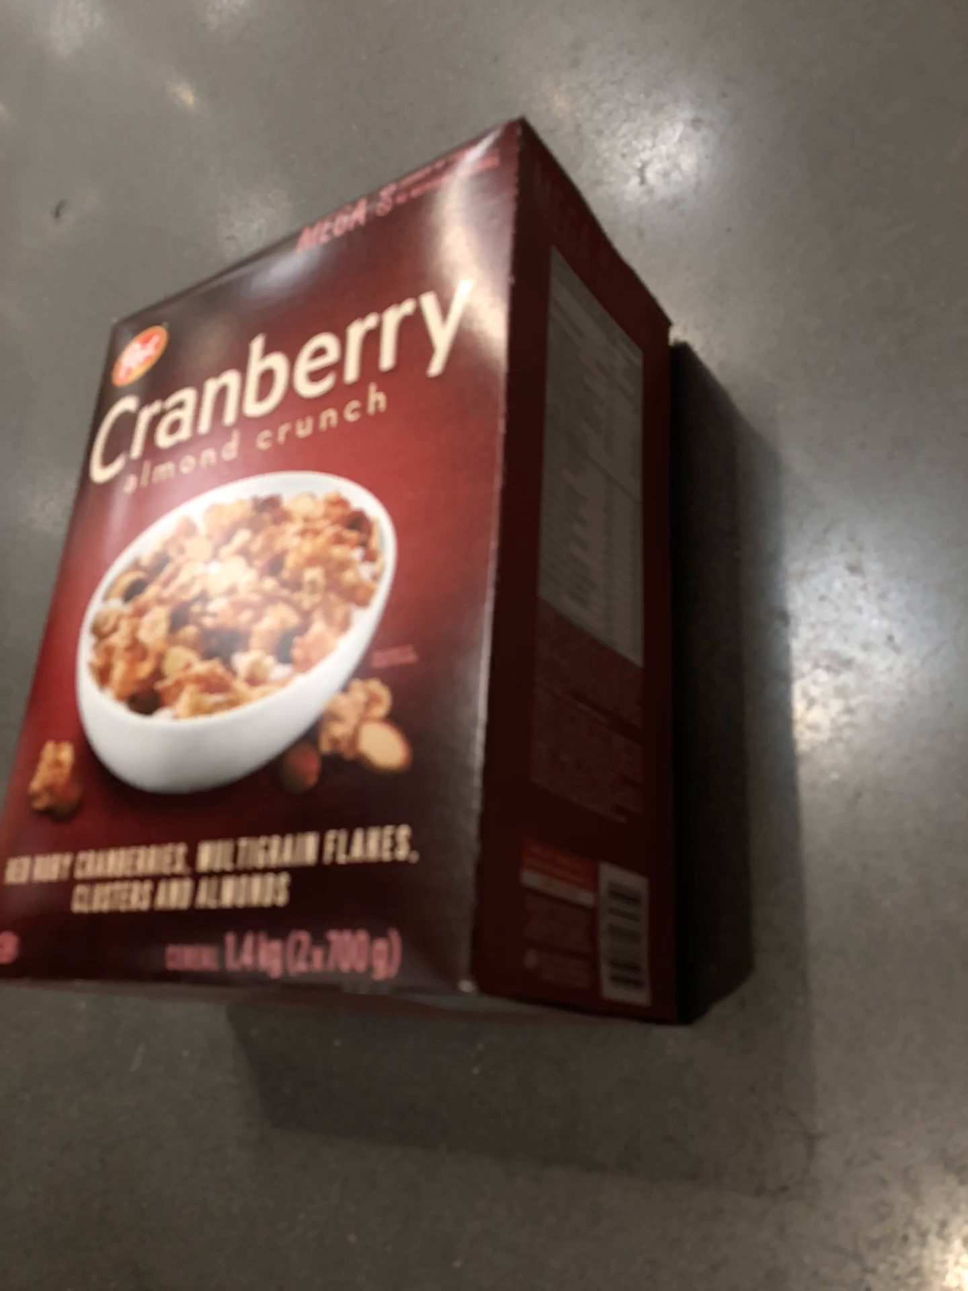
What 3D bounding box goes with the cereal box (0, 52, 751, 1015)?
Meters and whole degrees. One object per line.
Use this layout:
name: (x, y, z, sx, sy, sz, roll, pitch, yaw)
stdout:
cereal box: (-0.053, -0.020, 0.431, 0.261, 0.129, 0.310, -14, 63, 31)
